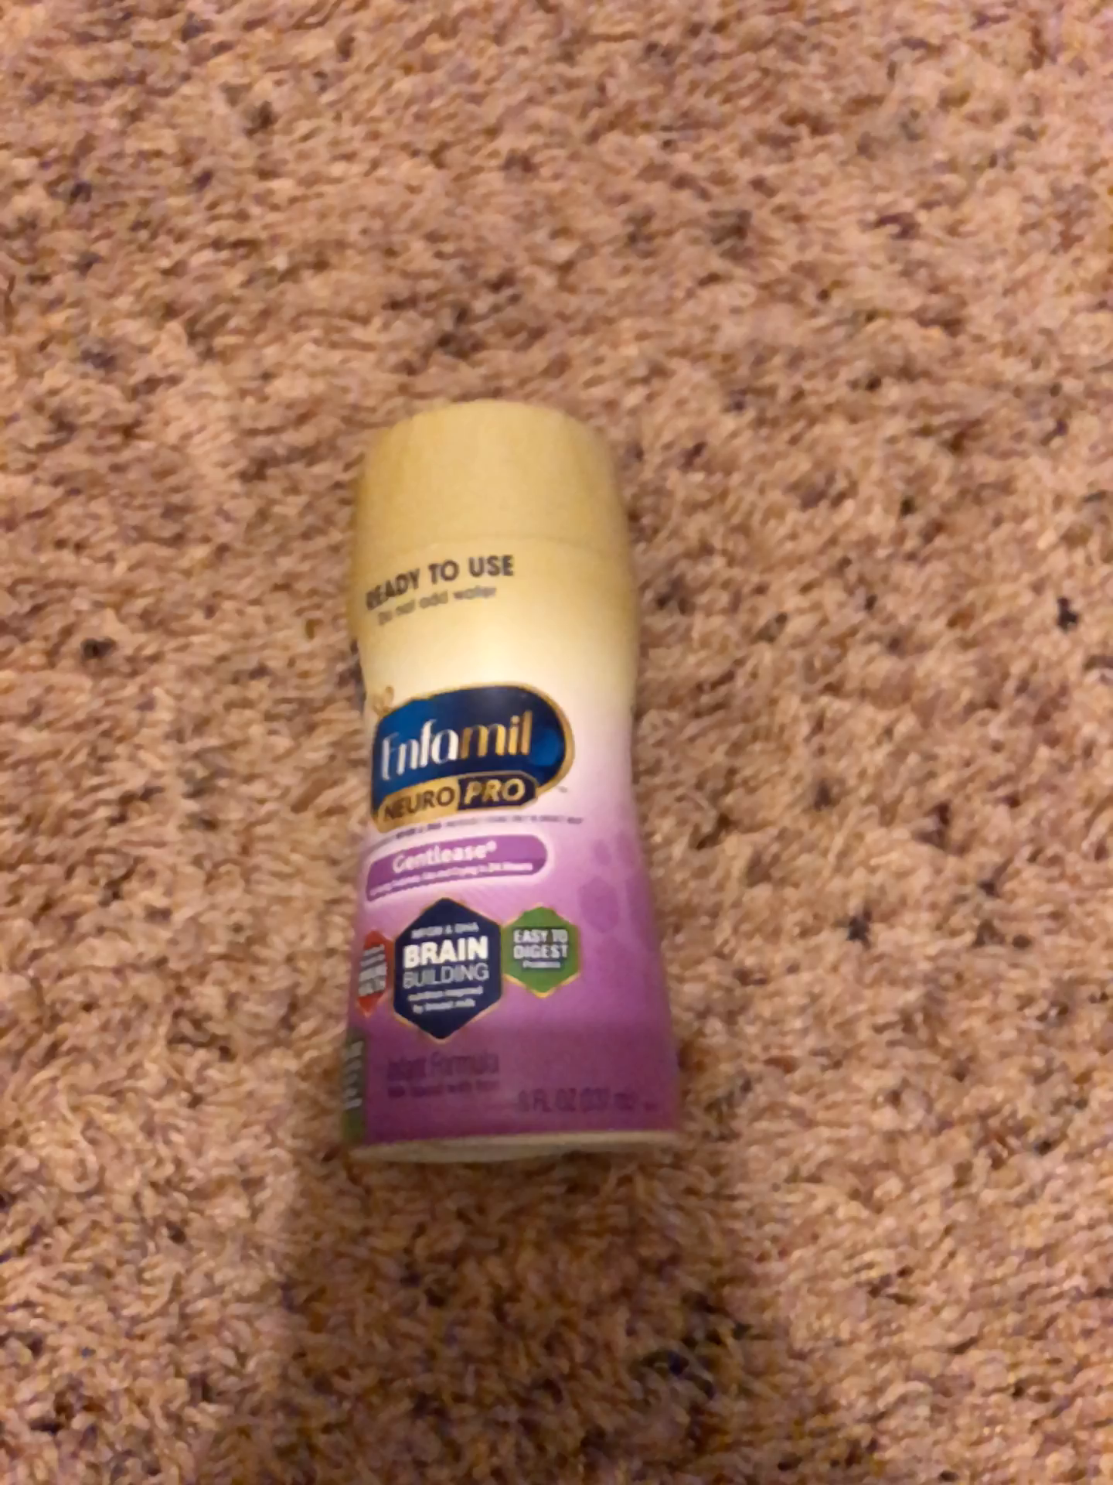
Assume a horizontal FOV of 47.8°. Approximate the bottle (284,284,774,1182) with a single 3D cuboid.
[{"bbox_3d":[-0.007,0.003,0.241,0.060,0.060,0.150,-17,67,34],"label":"bottle"}]
